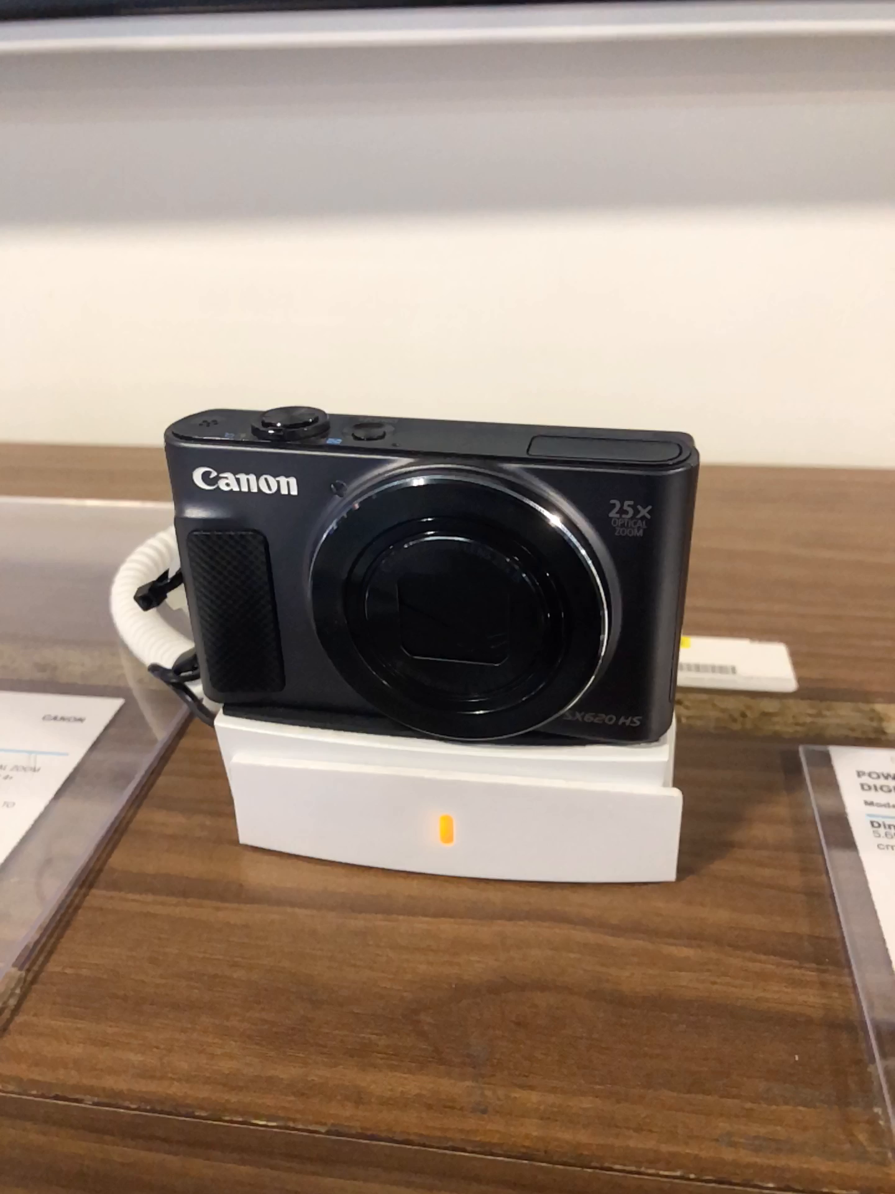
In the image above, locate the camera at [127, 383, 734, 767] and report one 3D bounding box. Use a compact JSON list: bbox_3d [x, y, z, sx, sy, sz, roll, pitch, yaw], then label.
[{"bbox_3d":[-0.002,-0.006,0.189,0.100,0.060,0.030,3,26,9],"label":"camera"}]
